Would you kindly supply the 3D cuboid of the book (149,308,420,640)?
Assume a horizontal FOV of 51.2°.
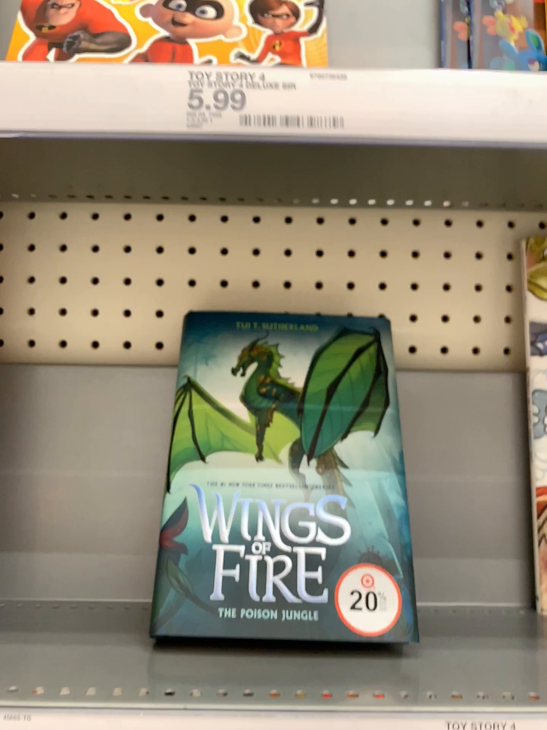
[{"bbox_3d":[0.008,0.062,0.384,0.150,0.216,0.036,1,-29,1],"label":"book"}]
